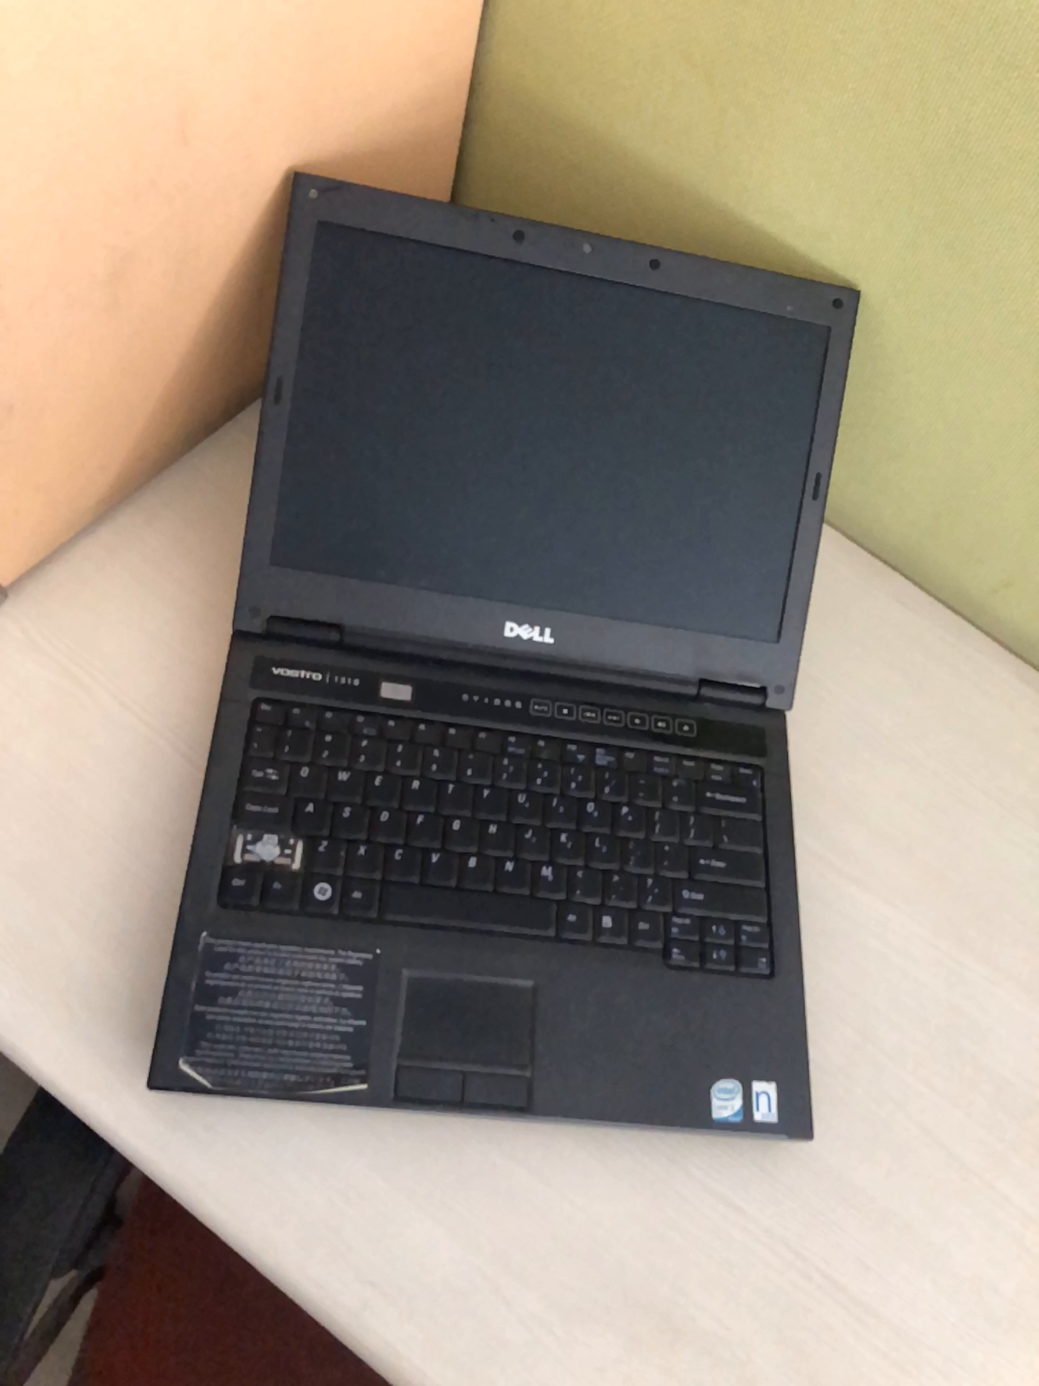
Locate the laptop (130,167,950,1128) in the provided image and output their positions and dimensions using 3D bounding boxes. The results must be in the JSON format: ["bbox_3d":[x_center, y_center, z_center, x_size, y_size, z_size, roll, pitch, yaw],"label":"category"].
[{"bbox_3d":[0.014,-0.029,0.568,0.305,0.125,0.431,8,63,-10],"label":"laptop"}]
